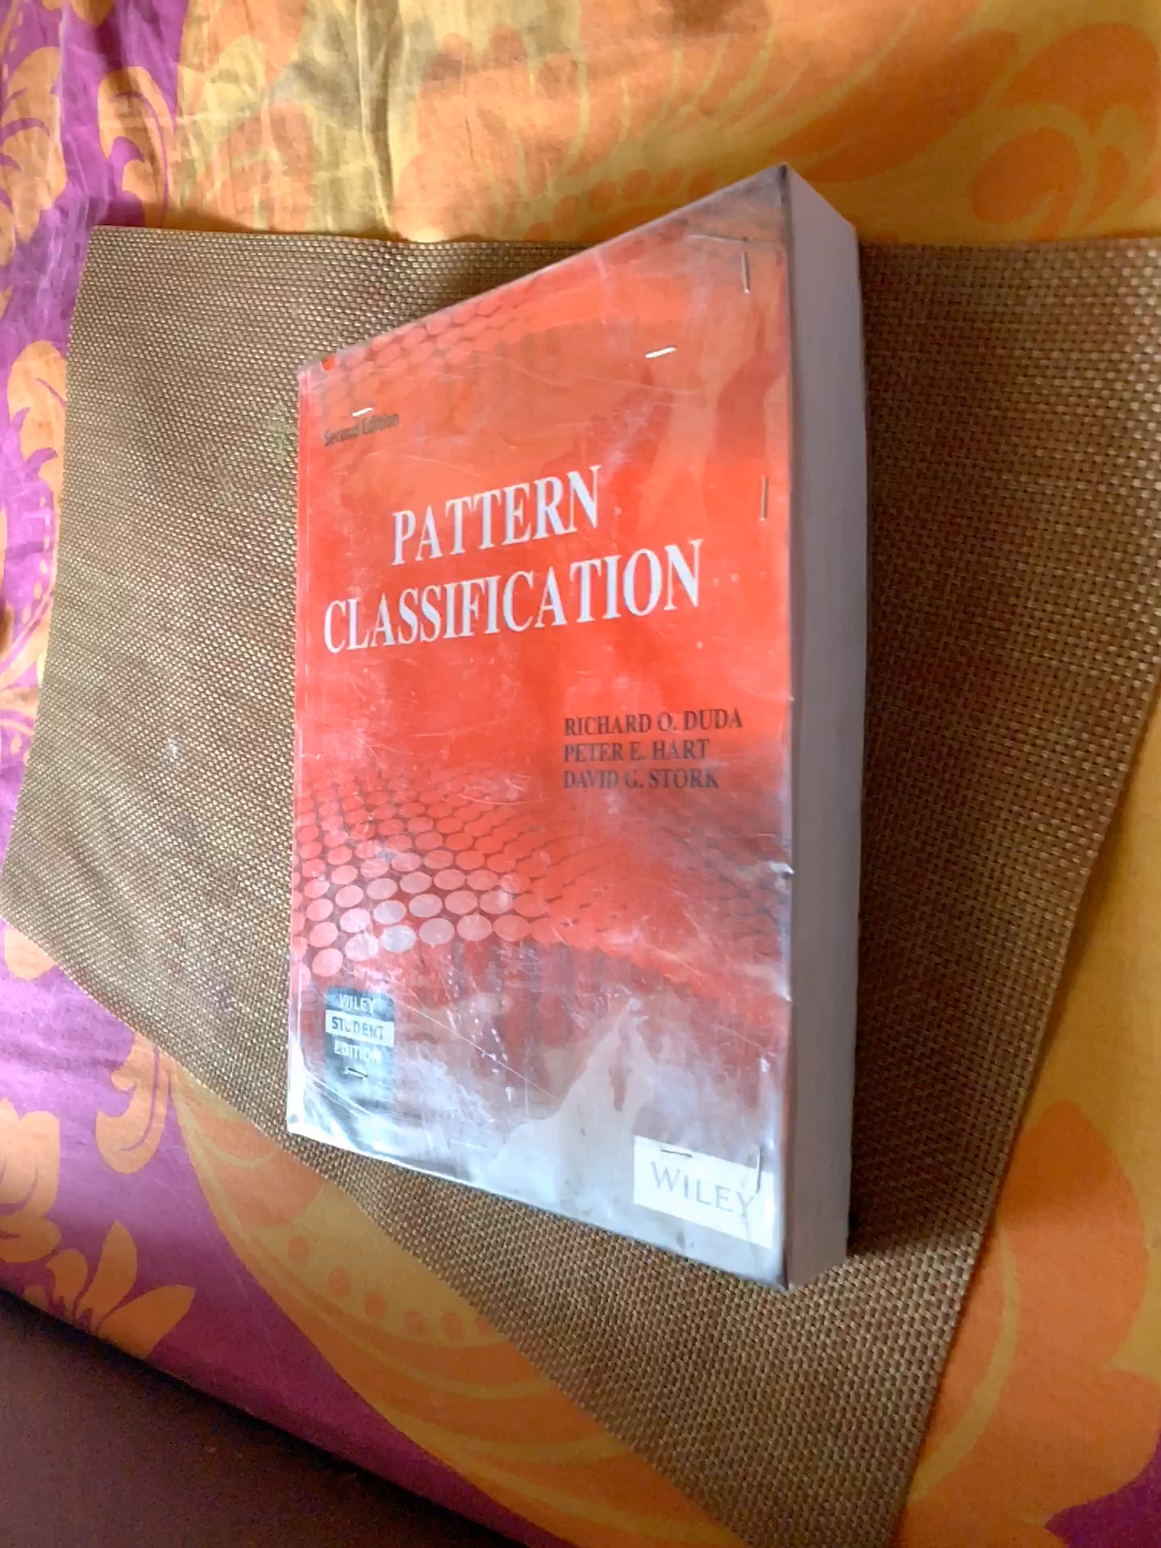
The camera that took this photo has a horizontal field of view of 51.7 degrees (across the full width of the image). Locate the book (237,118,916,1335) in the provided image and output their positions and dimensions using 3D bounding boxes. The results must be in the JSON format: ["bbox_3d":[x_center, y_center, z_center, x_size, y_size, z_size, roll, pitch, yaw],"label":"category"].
[{"bbox_3d":[-0.012,-0.010,0.300,0.181,0.040,0.230,0,87,40],"label":"book"}]
